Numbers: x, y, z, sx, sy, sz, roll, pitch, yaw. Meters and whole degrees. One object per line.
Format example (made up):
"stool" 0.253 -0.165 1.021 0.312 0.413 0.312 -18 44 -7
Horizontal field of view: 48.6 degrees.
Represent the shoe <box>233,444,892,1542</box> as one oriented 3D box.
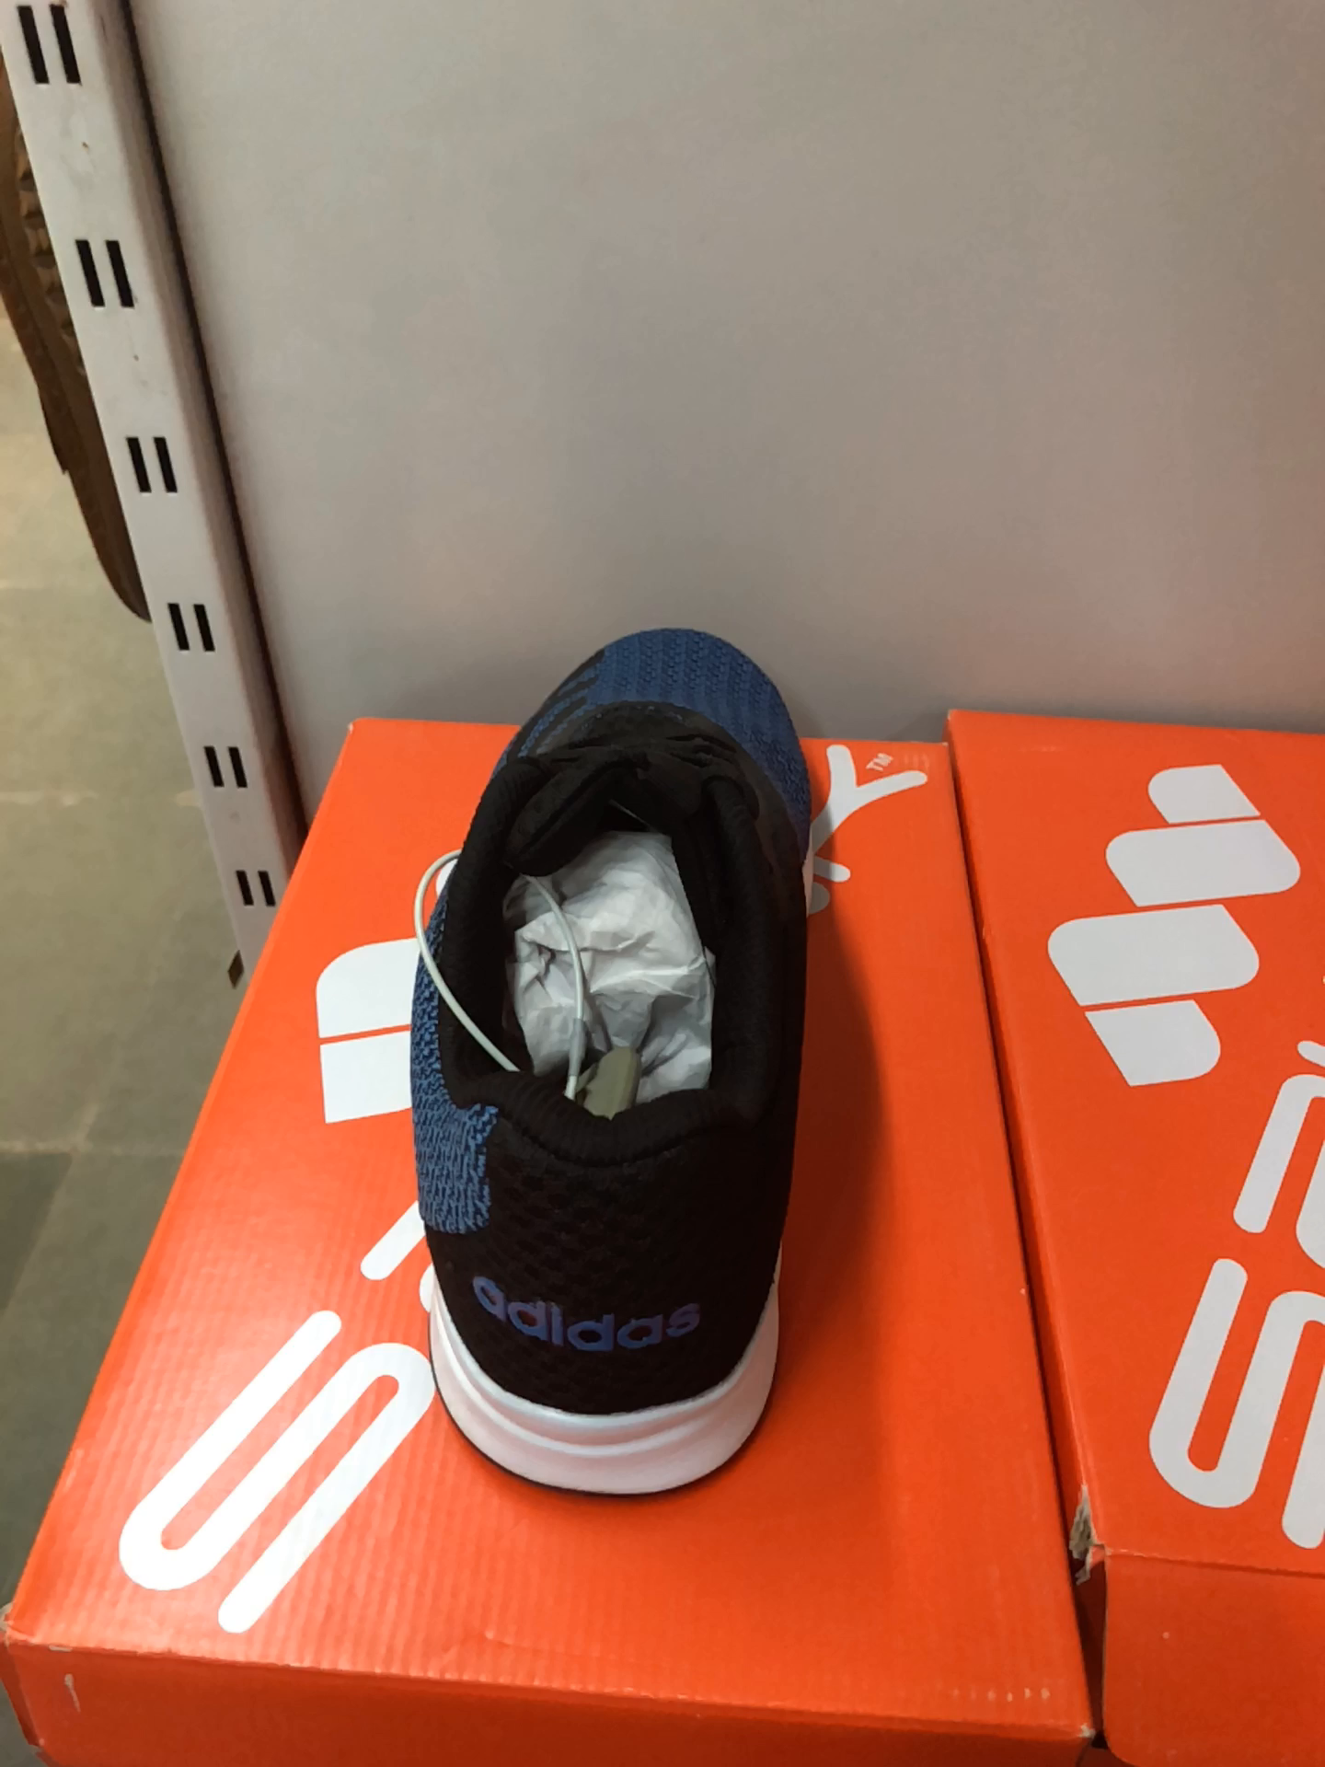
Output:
"shoe" -0.010 0.007 0.373 0.105 0.135 0.255 2 40 2
